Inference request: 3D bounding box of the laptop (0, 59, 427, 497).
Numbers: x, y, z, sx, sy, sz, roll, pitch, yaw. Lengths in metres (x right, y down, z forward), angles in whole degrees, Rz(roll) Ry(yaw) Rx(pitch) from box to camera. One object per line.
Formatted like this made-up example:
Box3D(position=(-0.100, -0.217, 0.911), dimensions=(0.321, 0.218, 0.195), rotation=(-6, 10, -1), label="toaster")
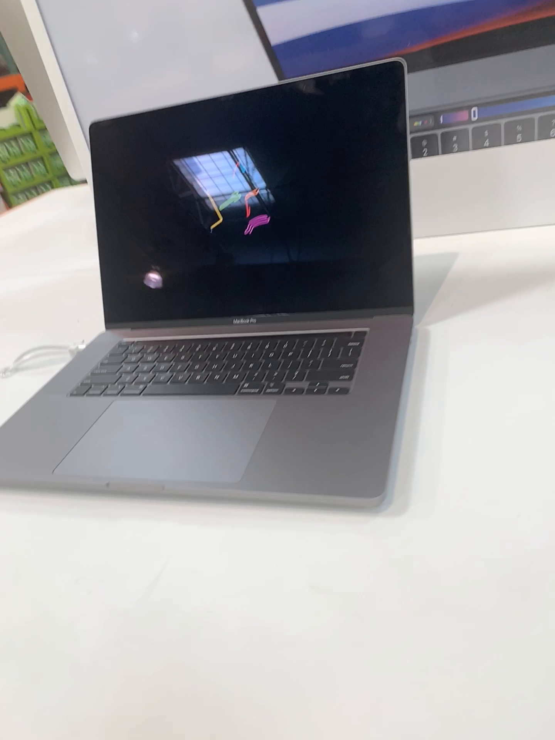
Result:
Box3D(position=(-0.067, -0.098, 0.486), dimensions=(0.341, 0.203, 0.346), rotation=(-2, 32, 20), label="laptop")
